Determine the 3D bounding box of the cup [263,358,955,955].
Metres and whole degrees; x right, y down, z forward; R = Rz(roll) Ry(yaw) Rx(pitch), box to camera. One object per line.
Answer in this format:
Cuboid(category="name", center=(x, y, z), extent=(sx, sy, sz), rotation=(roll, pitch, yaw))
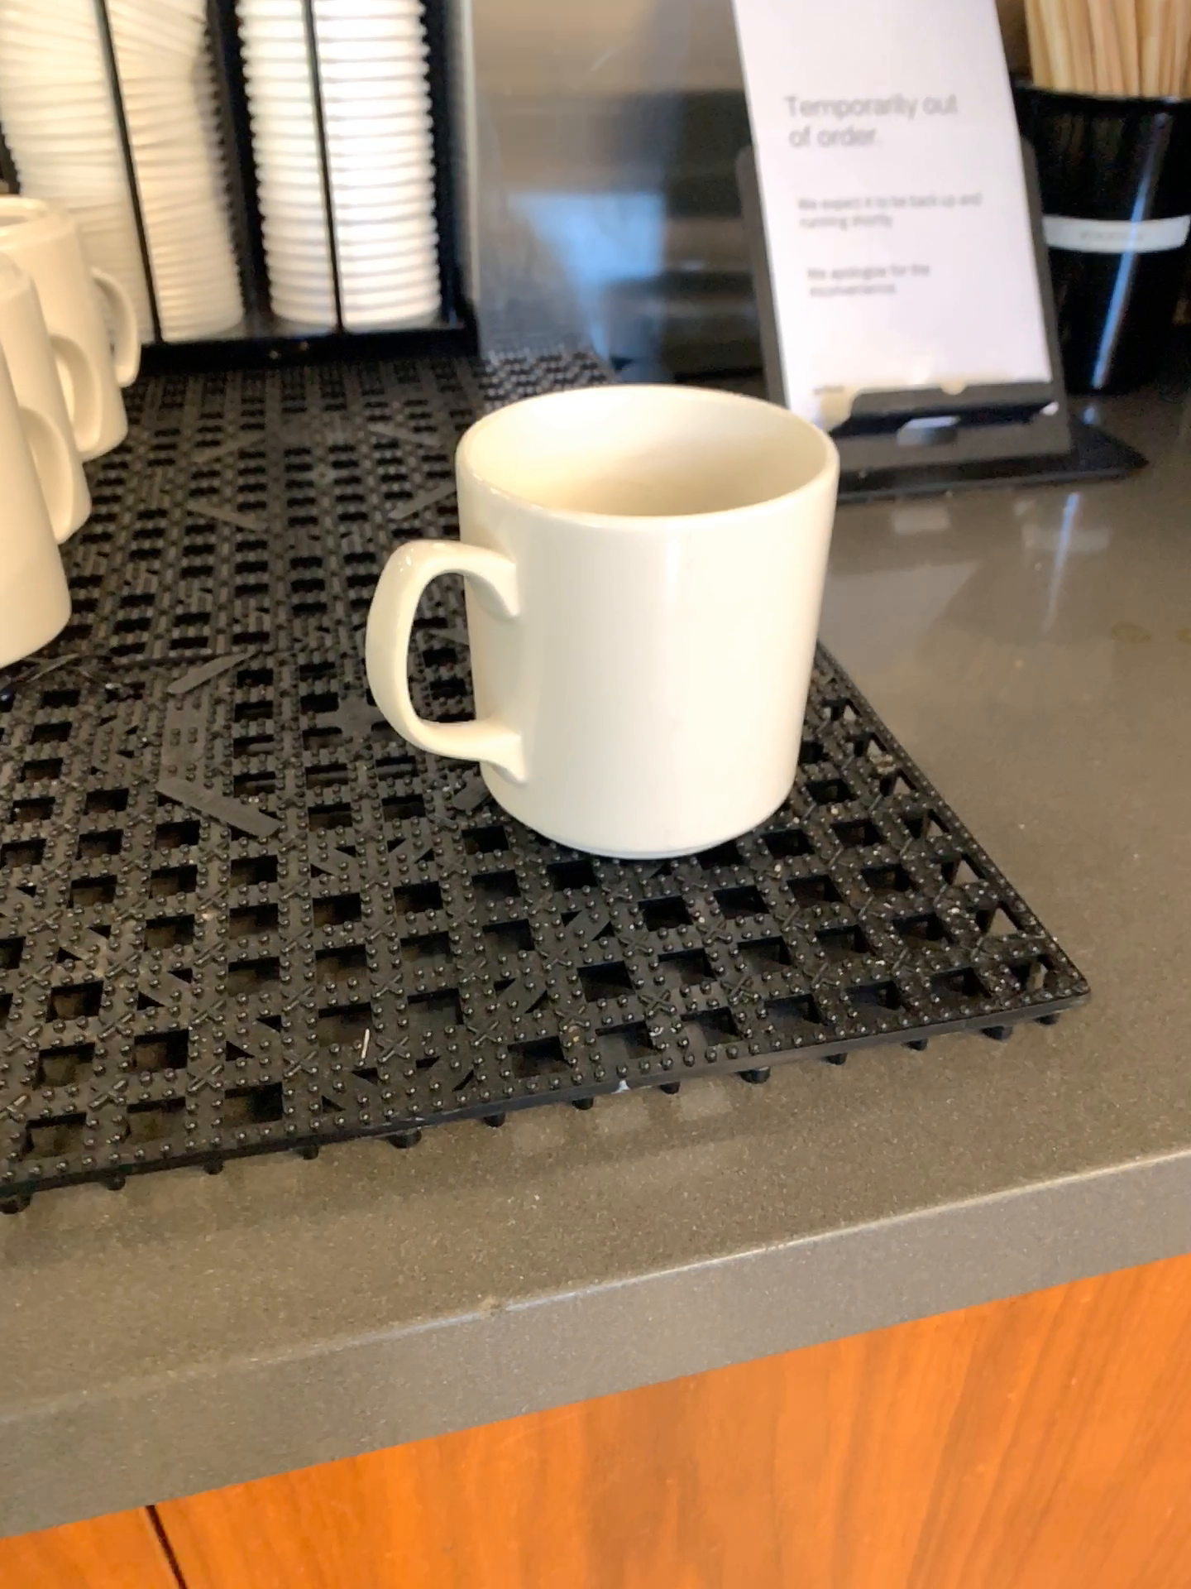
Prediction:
Cuboid(category="cup", center=(0.003, -0.041, 0.292), extent=(0.120, 0.080, 0.090), rotation=(-23, 41, -28))
